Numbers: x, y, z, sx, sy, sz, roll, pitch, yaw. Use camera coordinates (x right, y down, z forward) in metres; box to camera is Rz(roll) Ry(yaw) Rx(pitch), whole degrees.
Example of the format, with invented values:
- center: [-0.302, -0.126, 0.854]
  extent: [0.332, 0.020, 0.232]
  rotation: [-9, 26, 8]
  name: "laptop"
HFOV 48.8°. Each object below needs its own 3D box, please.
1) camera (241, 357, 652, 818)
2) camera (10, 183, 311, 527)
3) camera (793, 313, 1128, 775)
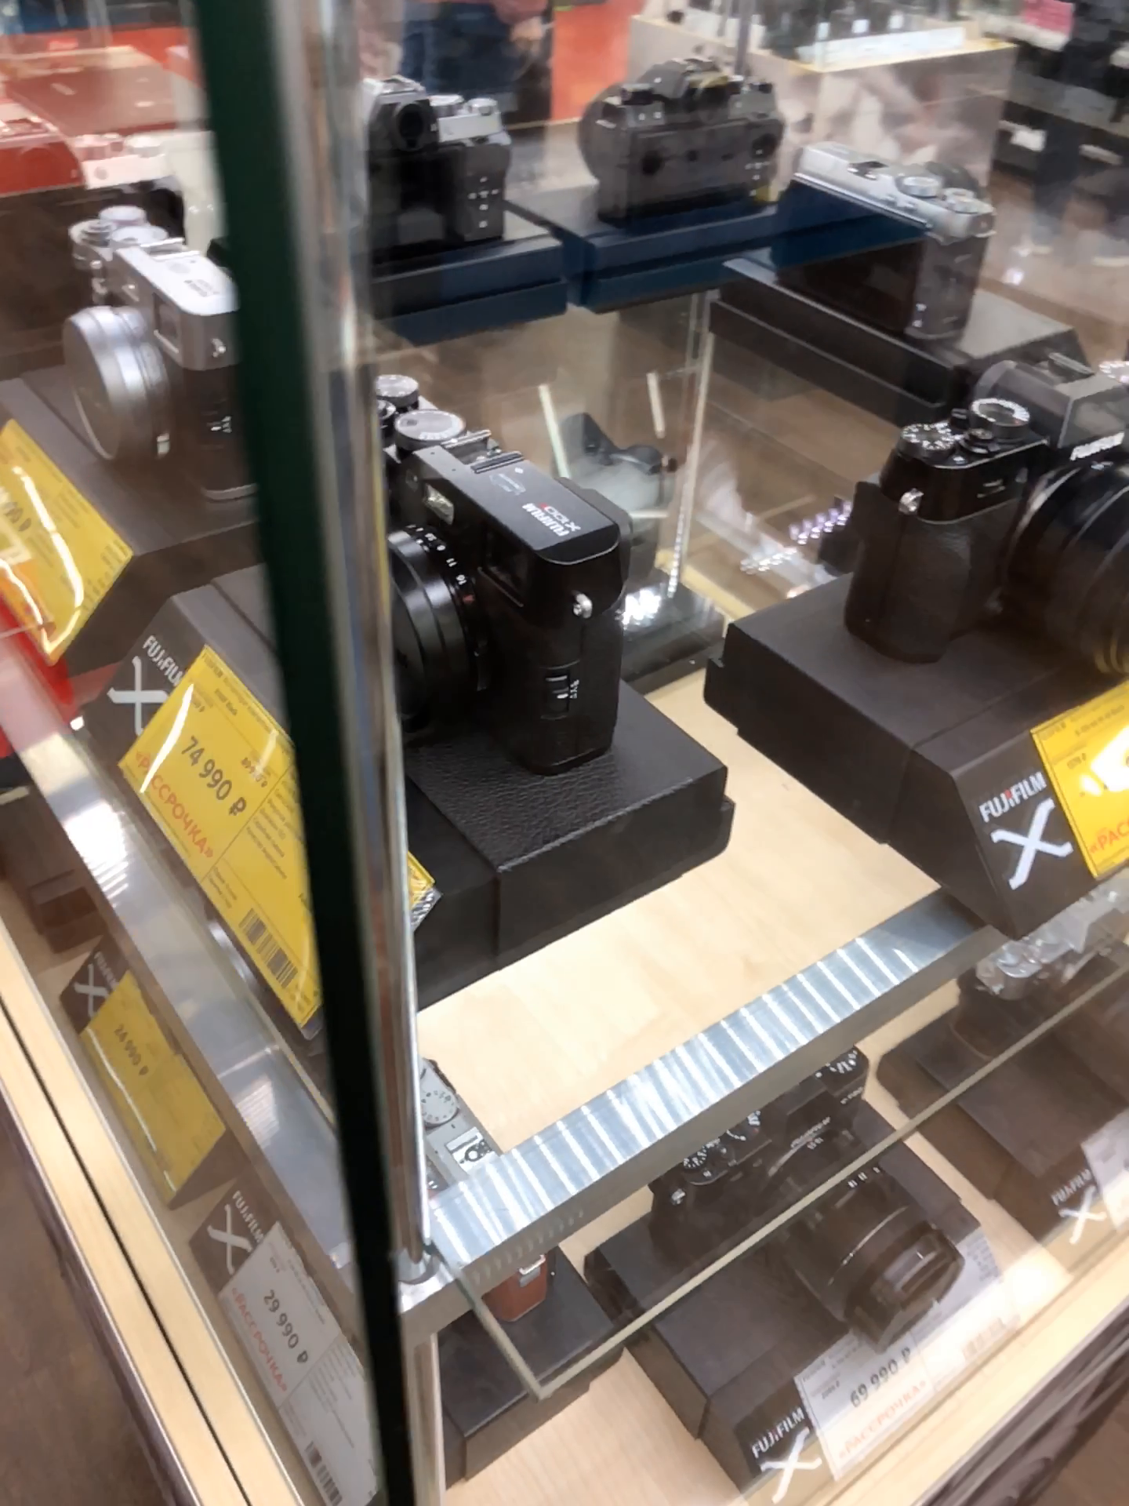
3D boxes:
- center: [-0.039, -0.055, 0.376]
  extent: [0.054, 0.075, 0.131]
  rotation: [-23, 46, -29]
  name: "camera"
- center: [-0.157, -0.158, 0.484]
  extent: [0.054, 0.081, 0.131]
  rotation: [-23, 46, -29]
  name: "camera"
- center: [0.164, -0.075, 0.406]
  extent: [0.131, 0.081, 0.104]
  rotation: [-23, 46, -29]
  name: "camera"
